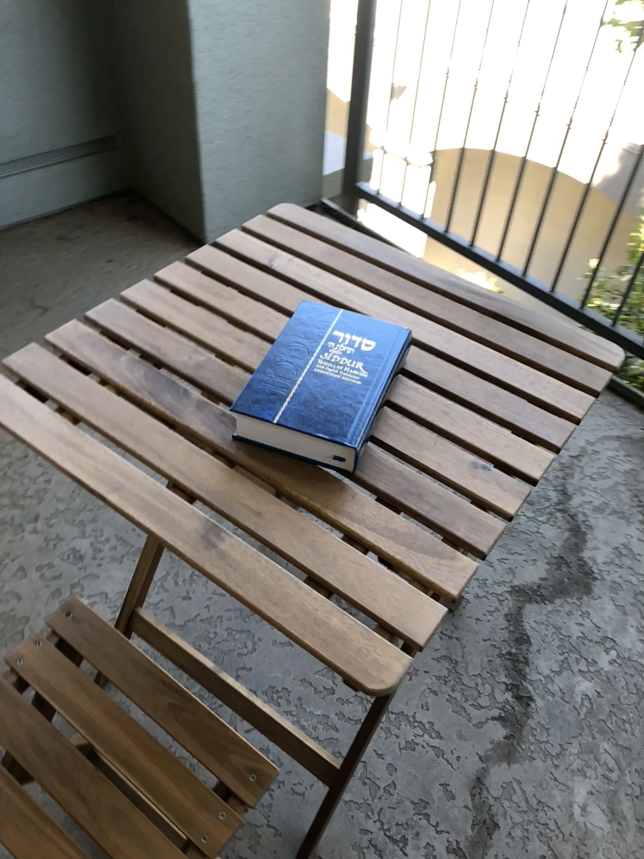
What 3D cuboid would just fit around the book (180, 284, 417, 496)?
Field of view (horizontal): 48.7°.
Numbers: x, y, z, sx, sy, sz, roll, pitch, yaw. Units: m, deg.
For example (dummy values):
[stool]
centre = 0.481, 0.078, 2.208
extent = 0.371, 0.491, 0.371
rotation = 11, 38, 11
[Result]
[book]
centre = -0.020, -0.057, 0.838
extent = 0.200, 0.070, 0.231
rotation = 17, 47, 12
